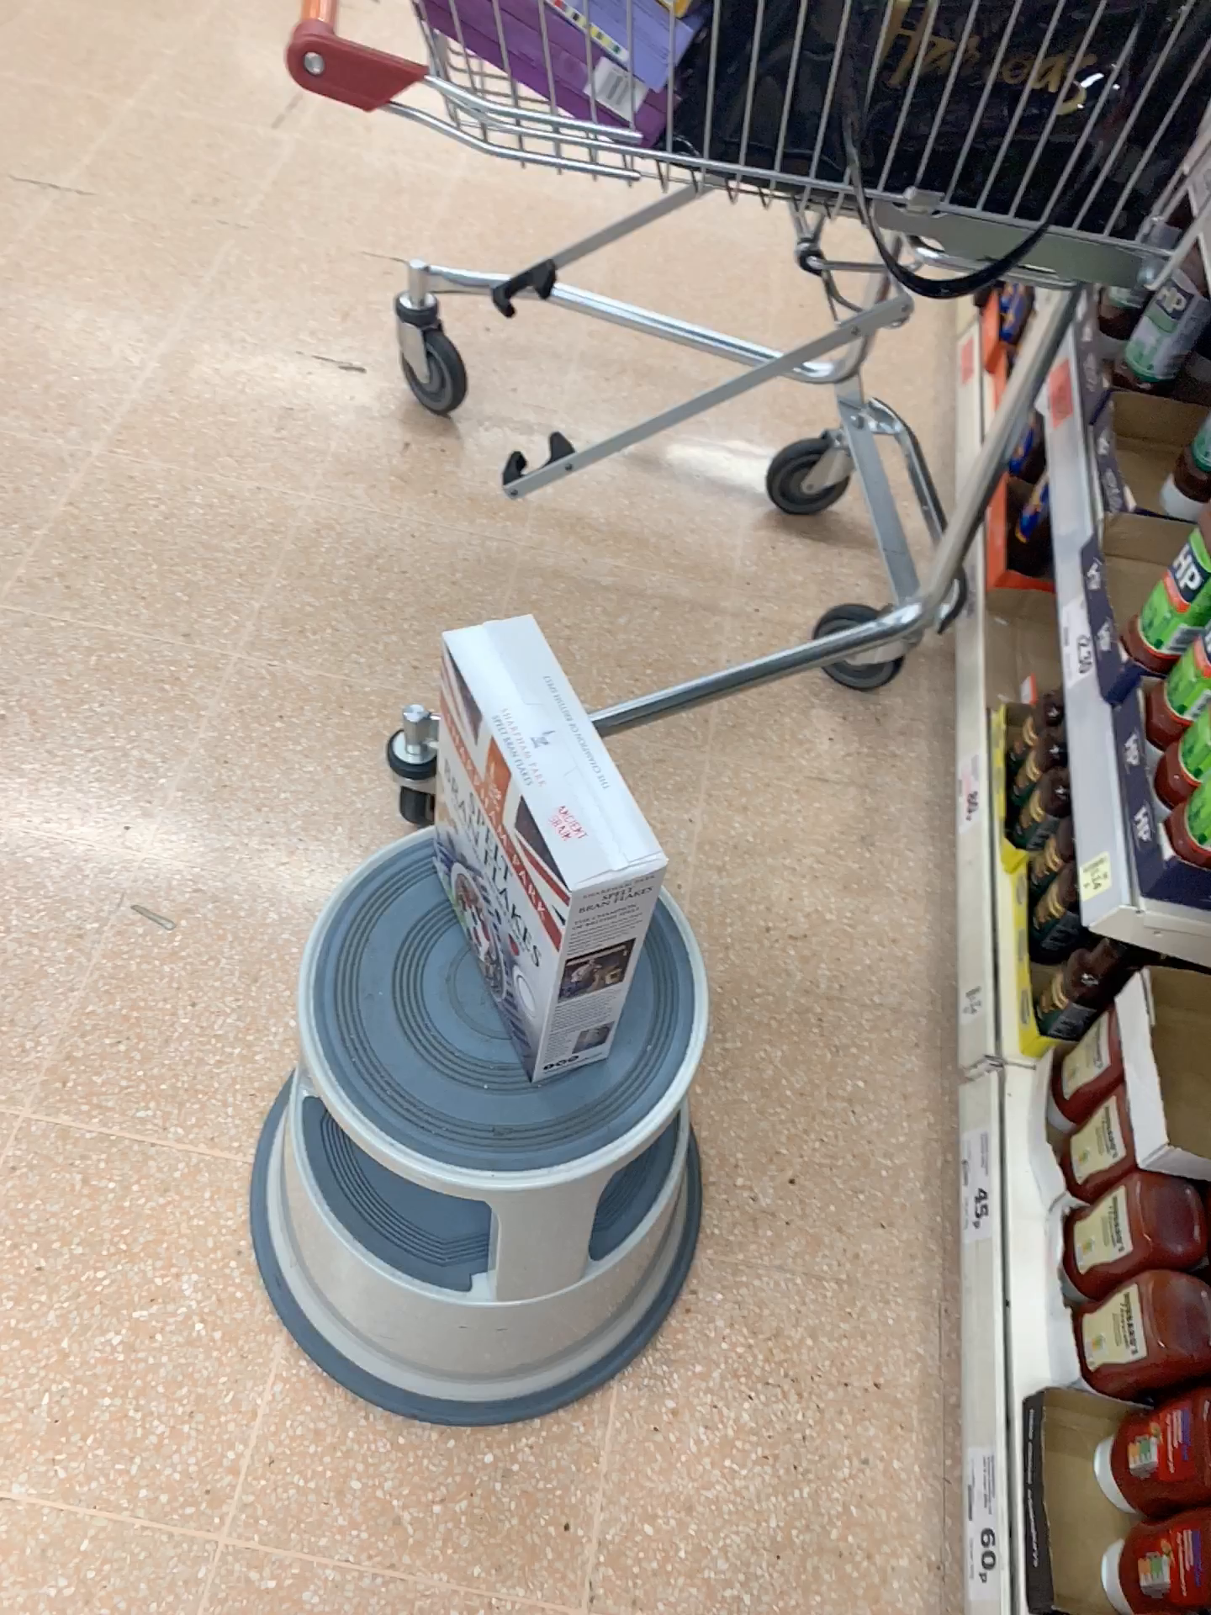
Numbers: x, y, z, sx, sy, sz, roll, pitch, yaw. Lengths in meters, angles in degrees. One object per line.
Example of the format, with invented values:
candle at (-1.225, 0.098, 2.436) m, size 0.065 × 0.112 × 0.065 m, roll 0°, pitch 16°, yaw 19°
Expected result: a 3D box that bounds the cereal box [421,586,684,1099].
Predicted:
cereal box at (-0.048, 0.031, 0.771) m, size 0.070 × 0.258 × 0.201 m, roll -16°, pitch 59°, yaw -19°
